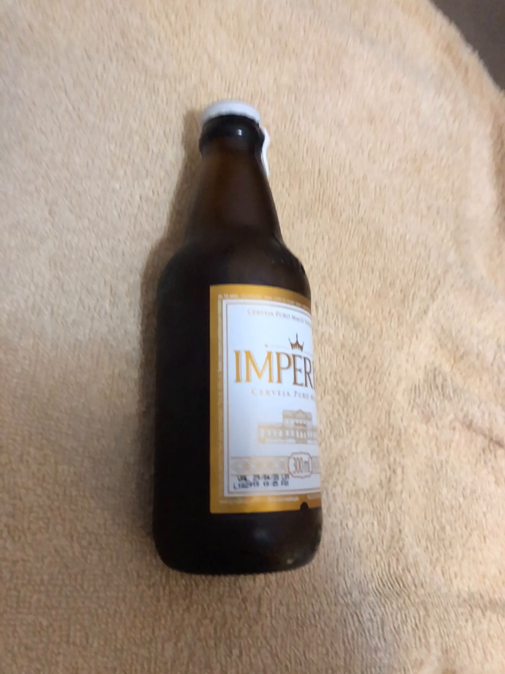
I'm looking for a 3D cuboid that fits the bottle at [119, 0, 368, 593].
[{"bbox_3d":[-0.008,-0.015,0.213,0.060,0.060,0.190,8,72,-38],"label":"bottle"}]
